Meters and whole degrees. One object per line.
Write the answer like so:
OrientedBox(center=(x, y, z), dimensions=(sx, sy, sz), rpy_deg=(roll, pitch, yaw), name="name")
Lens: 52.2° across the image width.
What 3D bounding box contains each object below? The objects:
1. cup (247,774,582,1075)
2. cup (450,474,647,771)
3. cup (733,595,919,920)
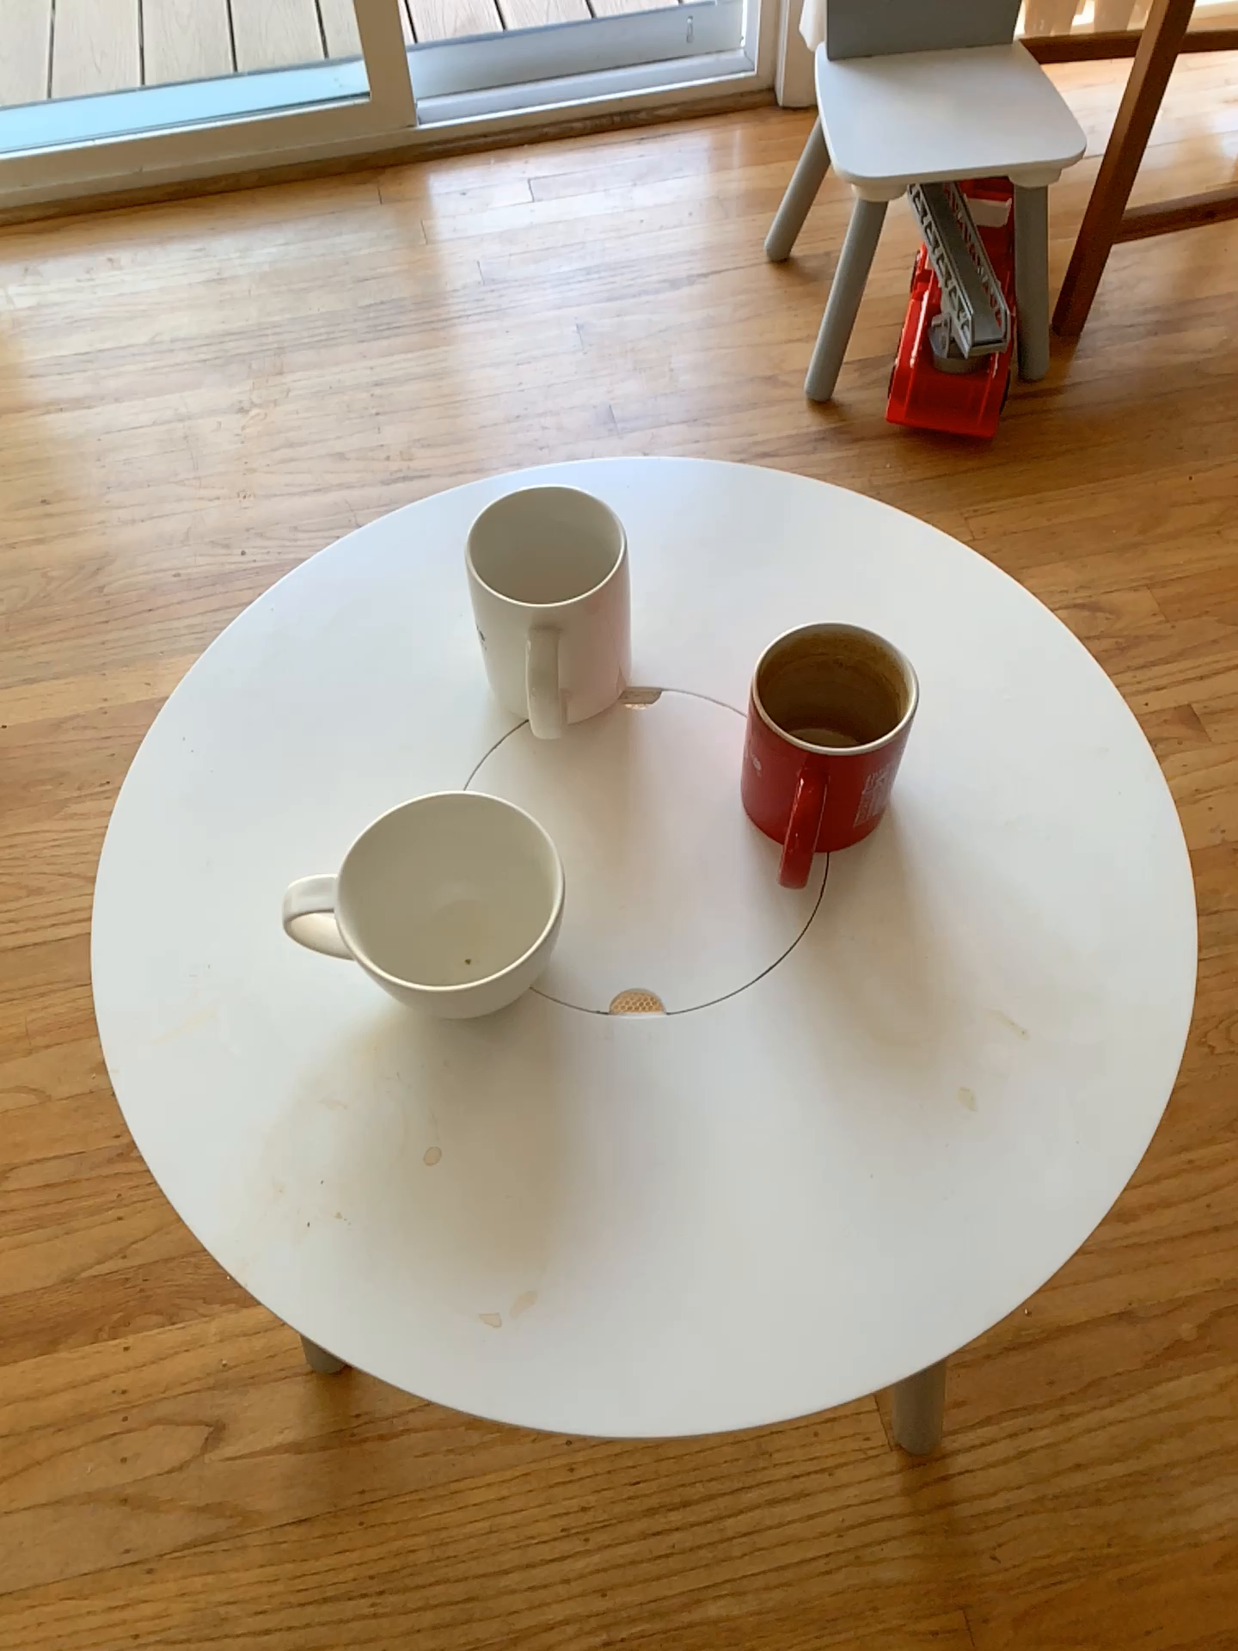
OrientedBox(center=(-0.095, 0.048, 0.628), dimensions=(0.130, 0.070, 0.110), rpy_deg=(9, 60, 7), name="cup")
OrientedBox(center=(-0.032, -0.108, 0.682), dimensions=(0.090, 0.100, 0.120), rpy_deg=(2, 59, 3), name="cup")
OrientedBox(center=(0.108, -0.035, 0.662), dimensions=(0.080, 0.100, 0.130), rpy_deg=(5, 59, 5), name="cup")
